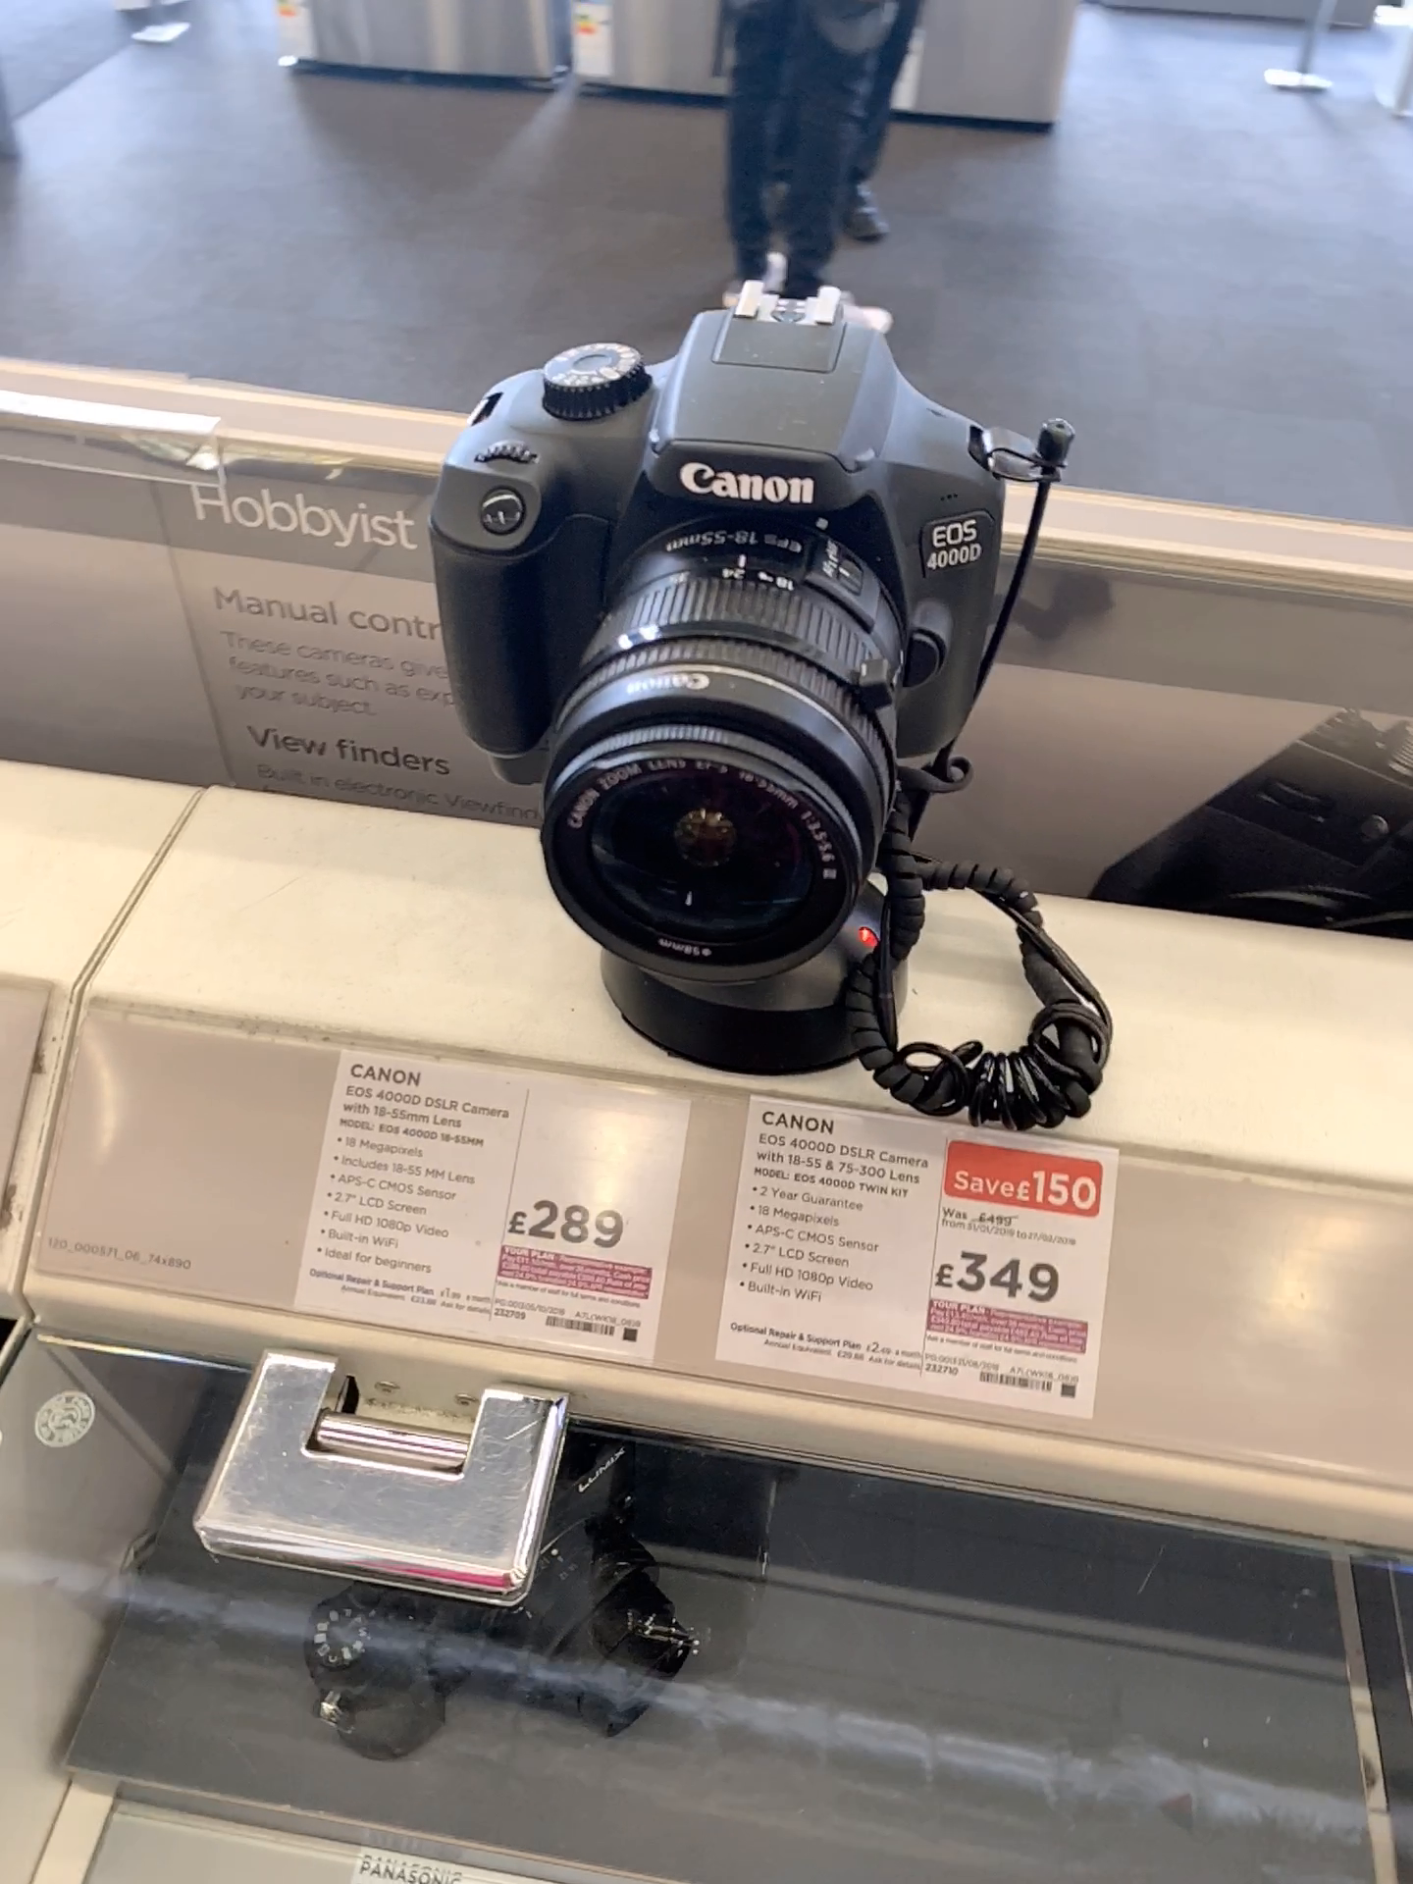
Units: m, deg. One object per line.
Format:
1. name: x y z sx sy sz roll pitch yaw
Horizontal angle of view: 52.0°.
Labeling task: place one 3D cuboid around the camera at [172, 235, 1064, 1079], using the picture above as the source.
1. camera: -0.007 -0.068 0.315 0.140 0.101 0.137 11 46 8
